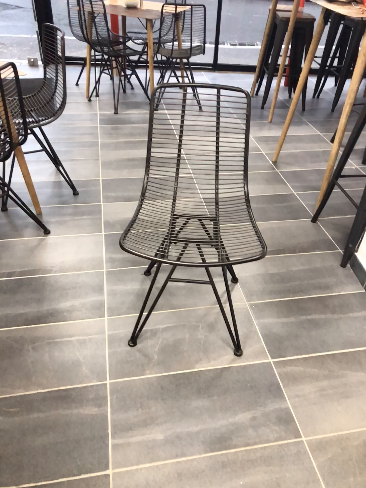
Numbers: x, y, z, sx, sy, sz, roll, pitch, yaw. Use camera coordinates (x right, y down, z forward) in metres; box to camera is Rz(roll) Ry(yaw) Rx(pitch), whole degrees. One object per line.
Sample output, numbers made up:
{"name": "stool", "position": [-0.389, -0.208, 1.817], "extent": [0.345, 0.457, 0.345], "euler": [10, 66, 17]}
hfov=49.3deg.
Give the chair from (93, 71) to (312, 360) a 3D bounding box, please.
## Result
{"name": "chair", "position": [0.044, -0.089, 1.353], "extent": [0.500, 0.785, 0.523], "euler": [4, 37, 2]}
